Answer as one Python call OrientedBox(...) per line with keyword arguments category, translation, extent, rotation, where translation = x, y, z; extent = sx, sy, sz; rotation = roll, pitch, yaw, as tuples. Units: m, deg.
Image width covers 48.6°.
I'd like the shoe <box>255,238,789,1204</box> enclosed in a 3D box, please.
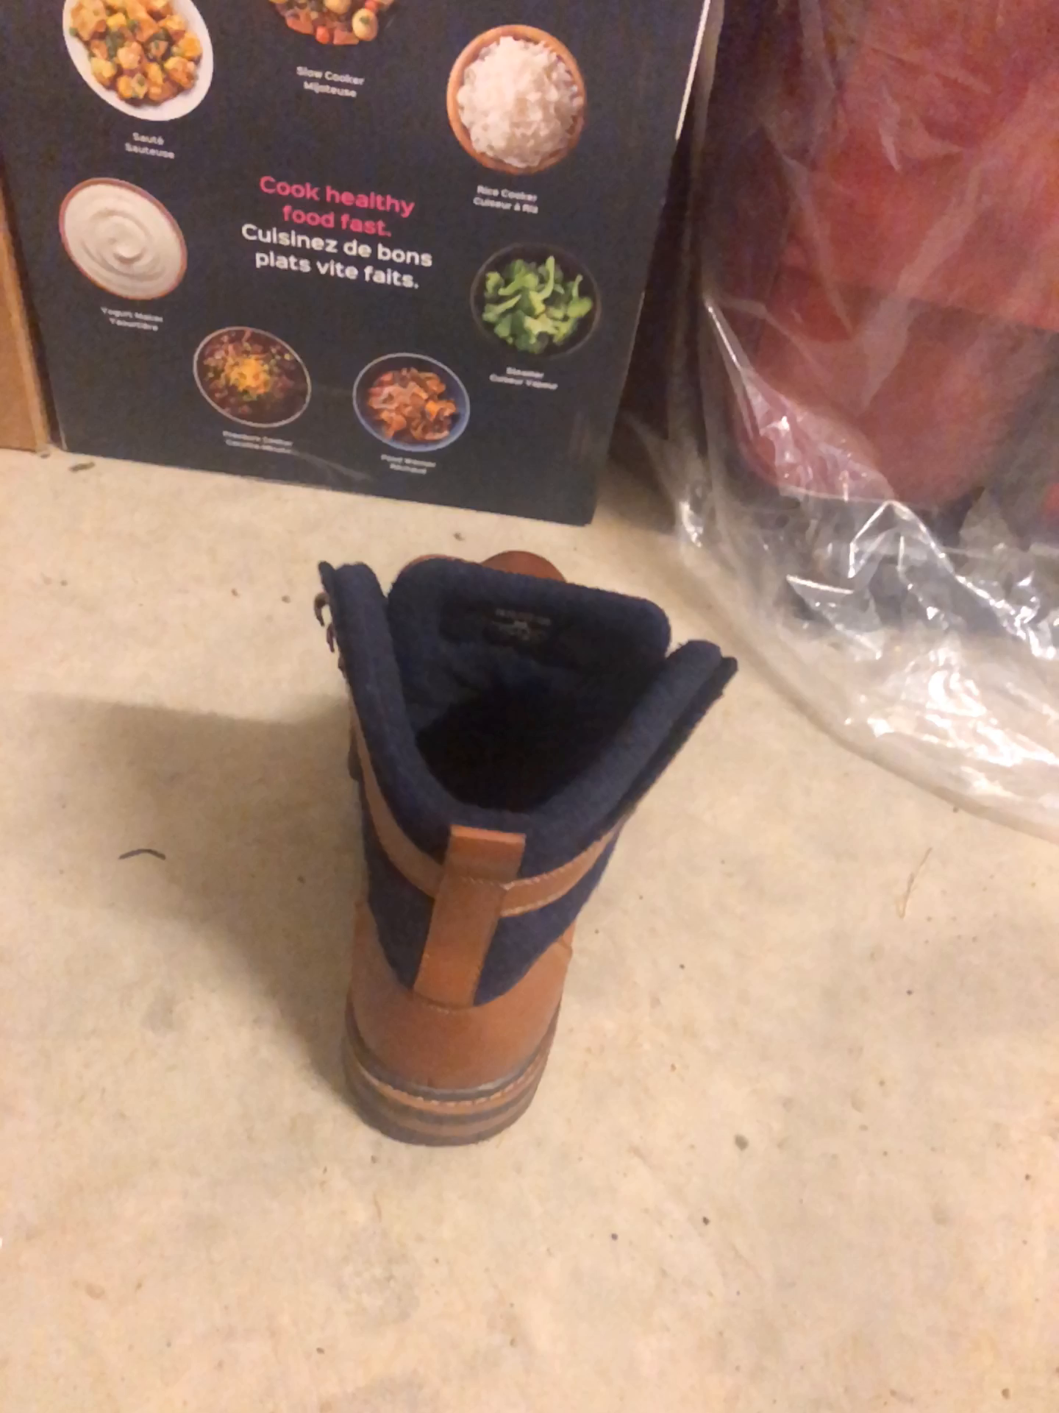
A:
OrientedBox(category="shoe", translation=(0.000, -0.003, 0.460), extent=(0.132, 0.201, 0.304), rotation=(10, 49, -2))
